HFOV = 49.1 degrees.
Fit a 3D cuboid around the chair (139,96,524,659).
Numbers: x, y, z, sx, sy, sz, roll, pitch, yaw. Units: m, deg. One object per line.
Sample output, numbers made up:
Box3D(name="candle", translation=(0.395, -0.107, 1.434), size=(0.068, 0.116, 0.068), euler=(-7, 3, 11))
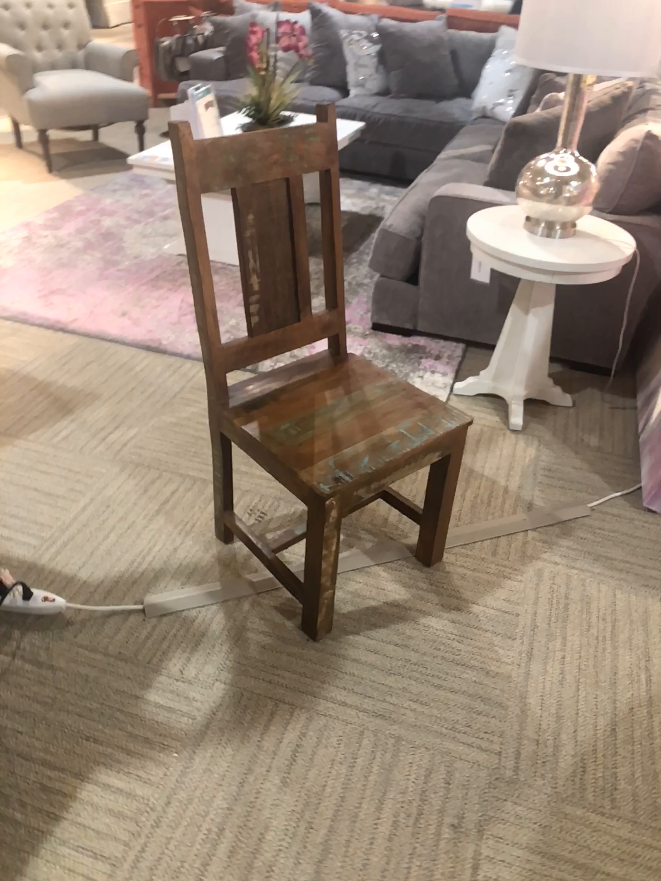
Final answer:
Box3D(name="chair", translation=(-0.025, -0.136, 1.598), size=(0.477, 1.024, 0.512), euler=(-25, 44, -34))
